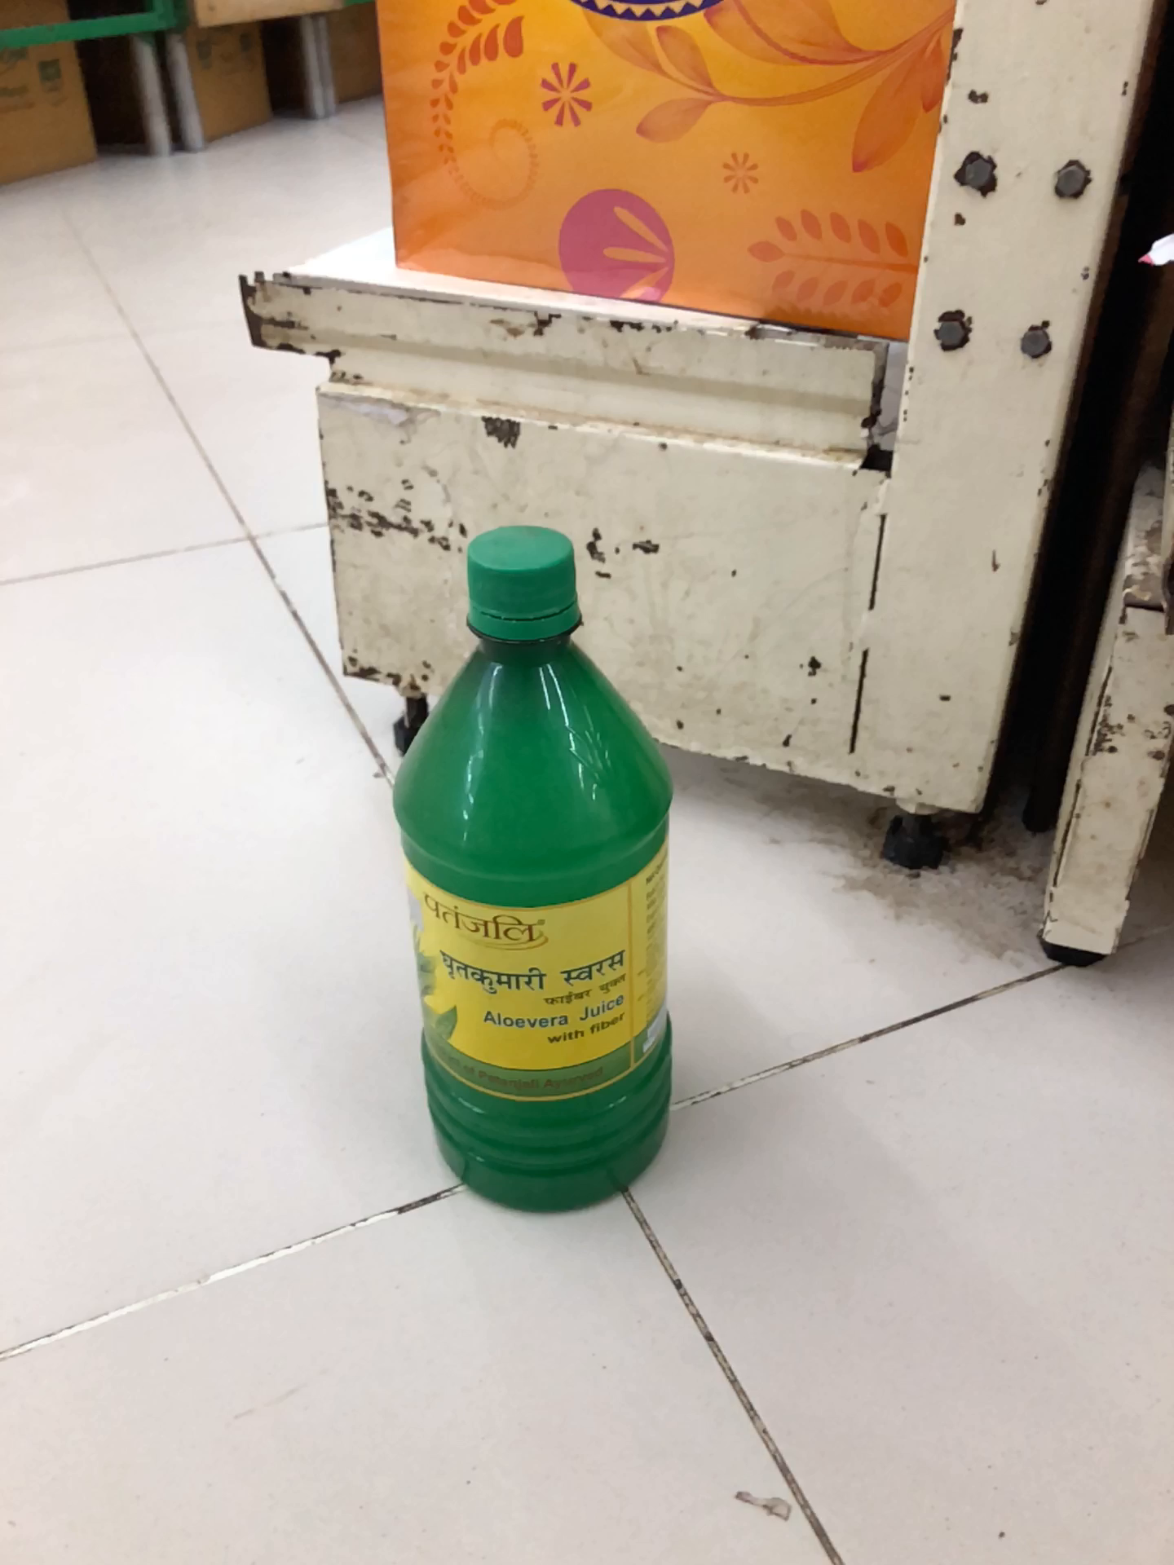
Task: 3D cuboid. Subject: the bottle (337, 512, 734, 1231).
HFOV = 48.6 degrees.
[{"bbox_3d":[-0.007,0.034,0.428,0.100,0.219,0.101,-2,34,1],"label":"bottle"}]
